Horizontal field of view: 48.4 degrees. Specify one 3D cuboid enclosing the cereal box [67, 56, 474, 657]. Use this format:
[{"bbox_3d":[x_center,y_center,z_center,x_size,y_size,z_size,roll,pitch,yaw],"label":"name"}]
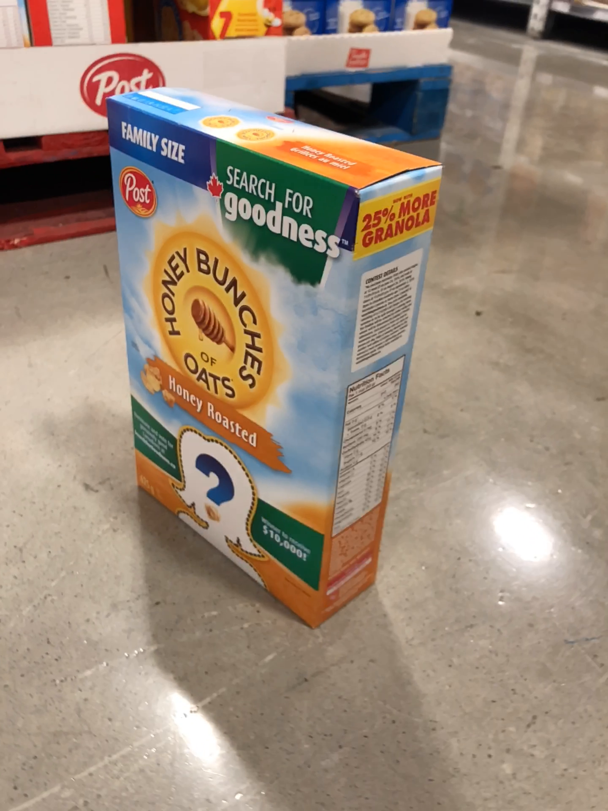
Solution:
[{"bbox_3d":[-0.035,-0.025,0.418,0.210,0.309,0.070,31,44,32],"label":"cereal box"}]
